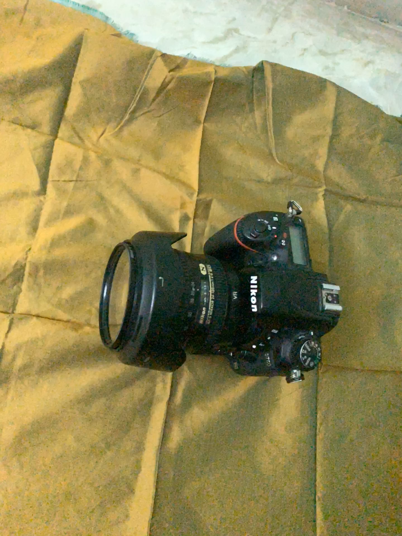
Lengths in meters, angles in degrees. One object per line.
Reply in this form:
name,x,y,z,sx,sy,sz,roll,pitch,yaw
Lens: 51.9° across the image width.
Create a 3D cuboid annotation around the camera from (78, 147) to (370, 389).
camera,0.018,0.017,0.330,0.193,0.100,0.140,11,70,-23
